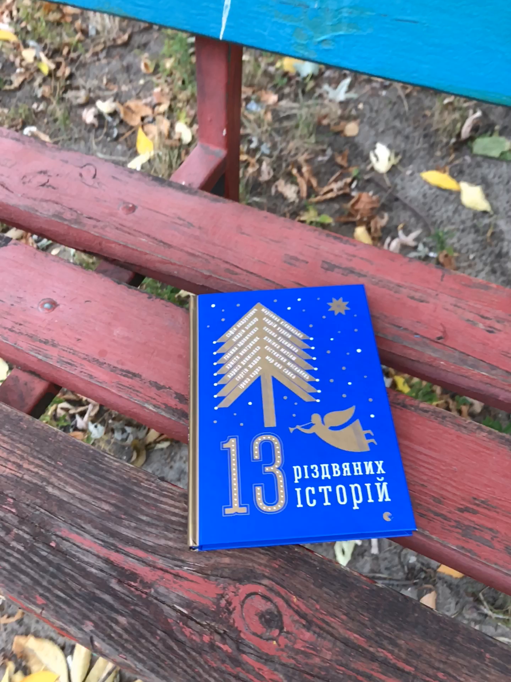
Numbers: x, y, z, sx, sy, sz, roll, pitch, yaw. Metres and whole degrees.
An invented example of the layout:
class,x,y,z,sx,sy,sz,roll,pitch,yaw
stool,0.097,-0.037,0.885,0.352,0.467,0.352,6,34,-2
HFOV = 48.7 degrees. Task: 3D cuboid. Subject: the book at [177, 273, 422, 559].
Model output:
class,x,y,z,sx,sy,sz,roll,pitch,yaw
book,0.021,0.044,0.422,0.155,0.020,0.213,-4,57,0
